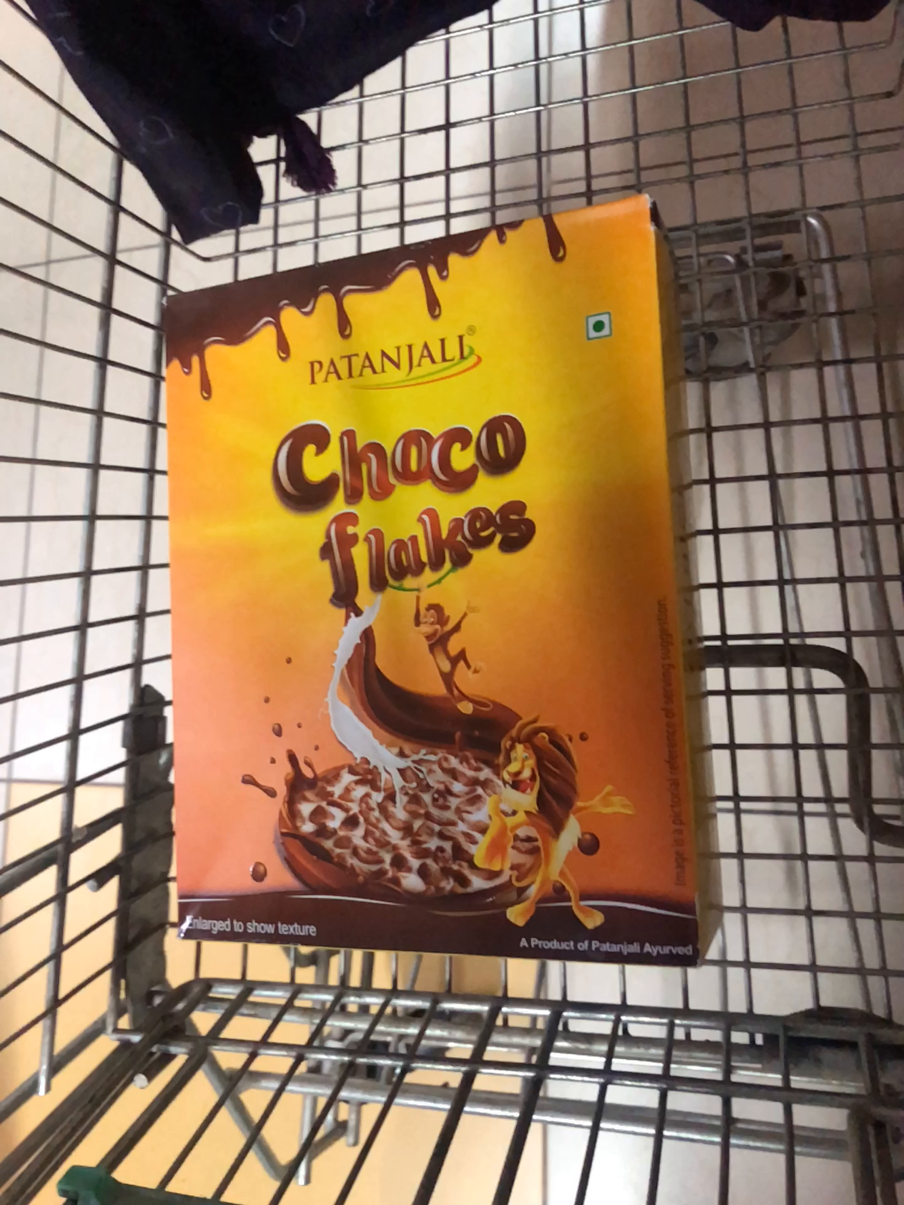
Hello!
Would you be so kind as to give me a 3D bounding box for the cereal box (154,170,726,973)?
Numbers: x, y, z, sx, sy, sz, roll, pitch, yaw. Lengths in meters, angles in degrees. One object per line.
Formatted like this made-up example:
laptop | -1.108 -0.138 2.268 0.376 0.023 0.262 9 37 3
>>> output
cereal box | -0.001 -0.003 0.365 0.170 0.110 0.230 -5 84 20
